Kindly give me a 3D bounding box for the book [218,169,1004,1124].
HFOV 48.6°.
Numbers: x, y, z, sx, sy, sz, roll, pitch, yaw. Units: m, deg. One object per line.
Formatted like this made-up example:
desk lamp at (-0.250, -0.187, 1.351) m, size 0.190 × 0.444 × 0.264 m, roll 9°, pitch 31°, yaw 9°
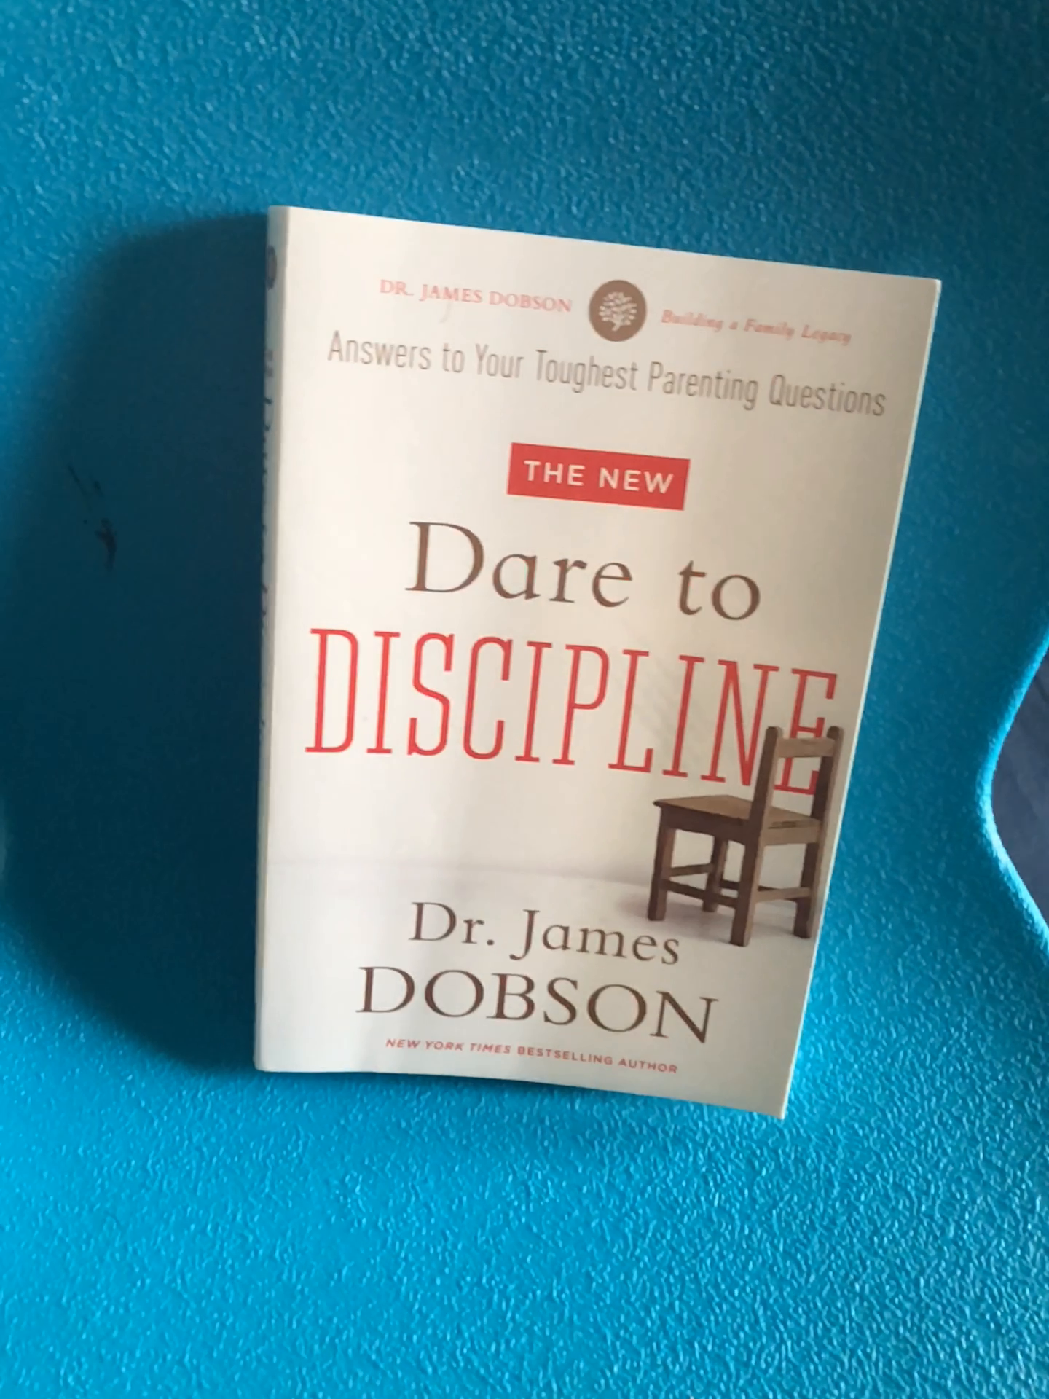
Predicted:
book at (0.012, -0.006, 0.274) m, size 0.150 × 0.199 × 0.040 m, roll 5°, pitch 14°, yaw -2°
